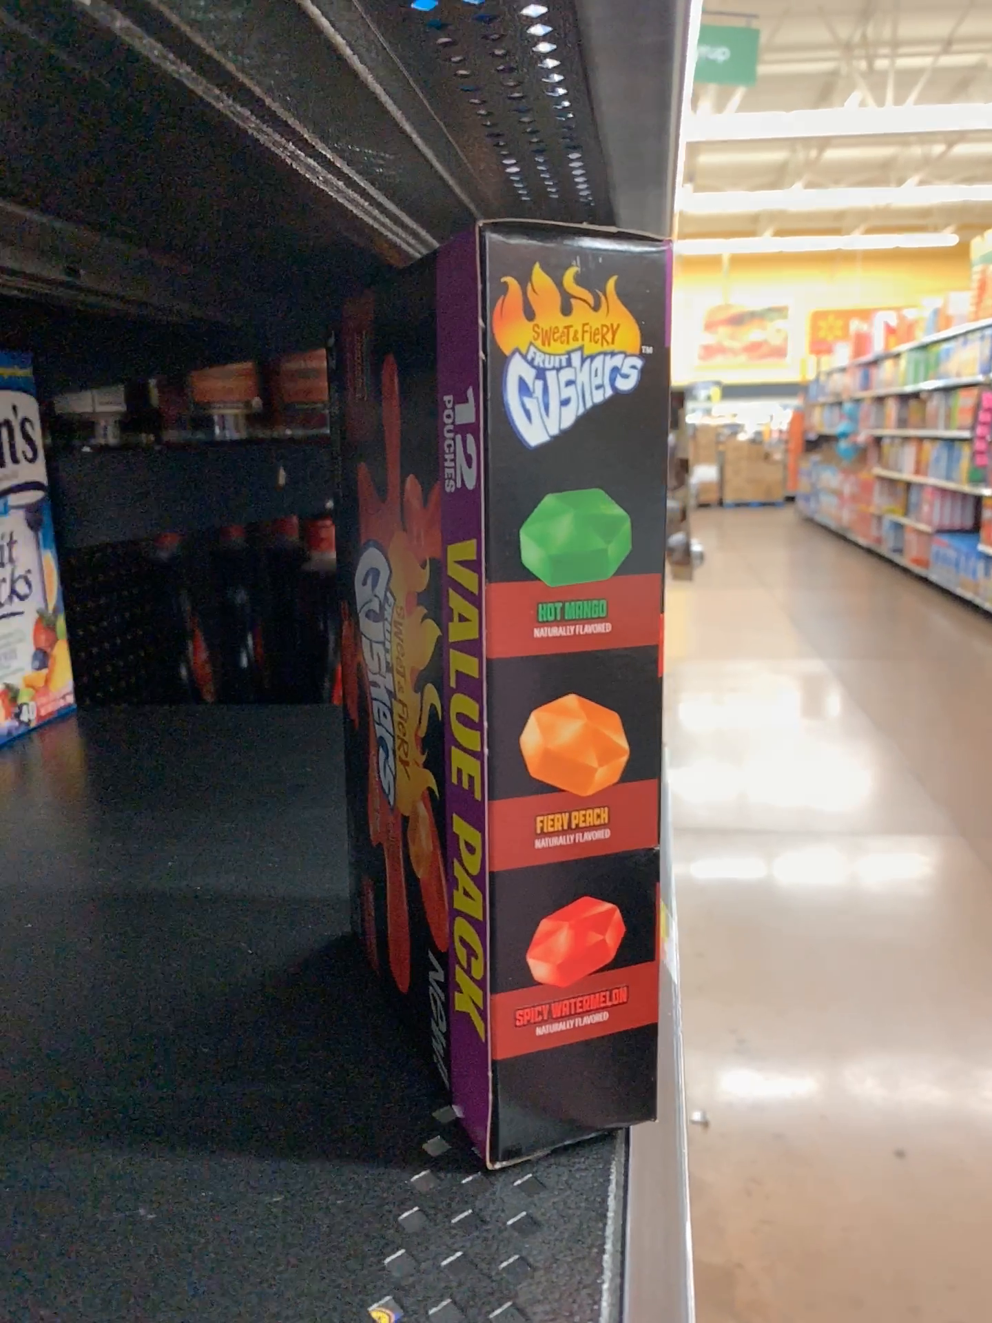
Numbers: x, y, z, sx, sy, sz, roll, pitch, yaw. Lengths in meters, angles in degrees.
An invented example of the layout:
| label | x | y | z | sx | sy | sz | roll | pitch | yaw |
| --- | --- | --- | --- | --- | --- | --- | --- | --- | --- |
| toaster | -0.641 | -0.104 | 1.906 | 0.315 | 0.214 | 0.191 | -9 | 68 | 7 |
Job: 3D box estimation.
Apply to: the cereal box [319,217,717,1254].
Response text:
| label | x | y | z | sx | sy | sz | roll | pitch | yaw |
| --- | --- | --- | --- | --- | --- | --- | --- | --- | --- |
| cereal box | -0.007 | 0.010 | 0.288 | 0.050 | 0.219 | 0.150 | -4 | 12 | -21 |
